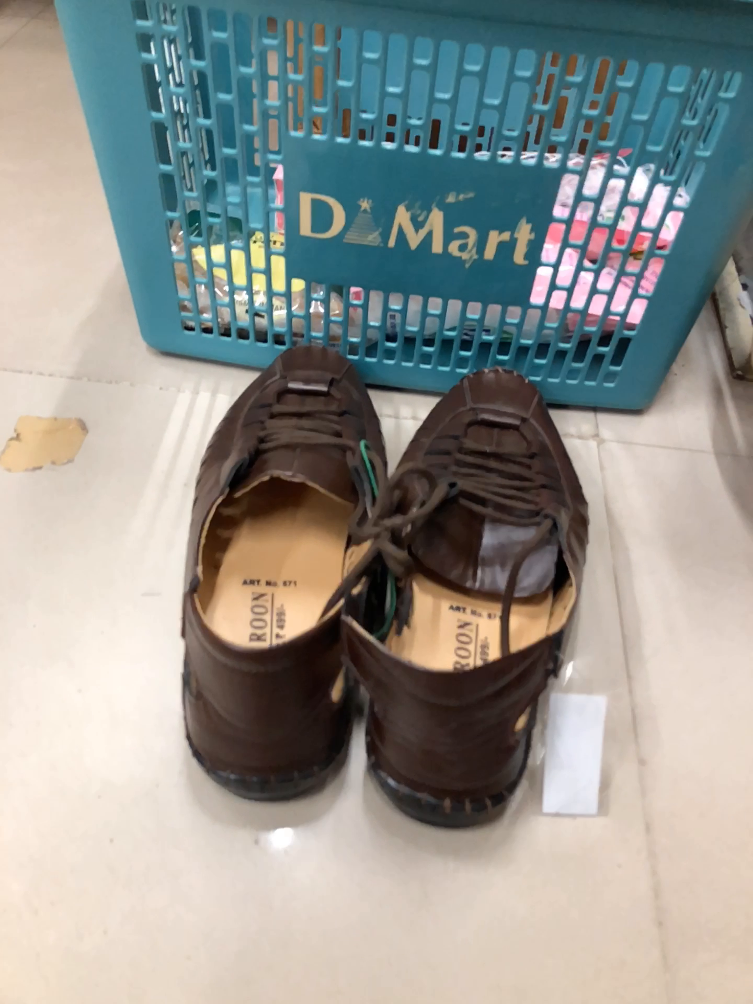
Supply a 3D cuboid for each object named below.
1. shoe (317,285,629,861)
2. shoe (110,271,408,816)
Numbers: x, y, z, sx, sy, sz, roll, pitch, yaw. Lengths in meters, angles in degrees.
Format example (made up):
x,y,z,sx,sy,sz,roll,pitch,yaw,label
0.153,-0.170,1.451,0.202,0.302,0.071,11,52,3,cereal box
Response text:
x,y,z,sx,sy,sz,roll,pitch,yaw,label
0.059,0.016,0.423,0.112,0.100,0.274,11,48,5,shoe
-0.044,0.004,0.425,0.107,0.100,0.274,3,48,-3,shoe
